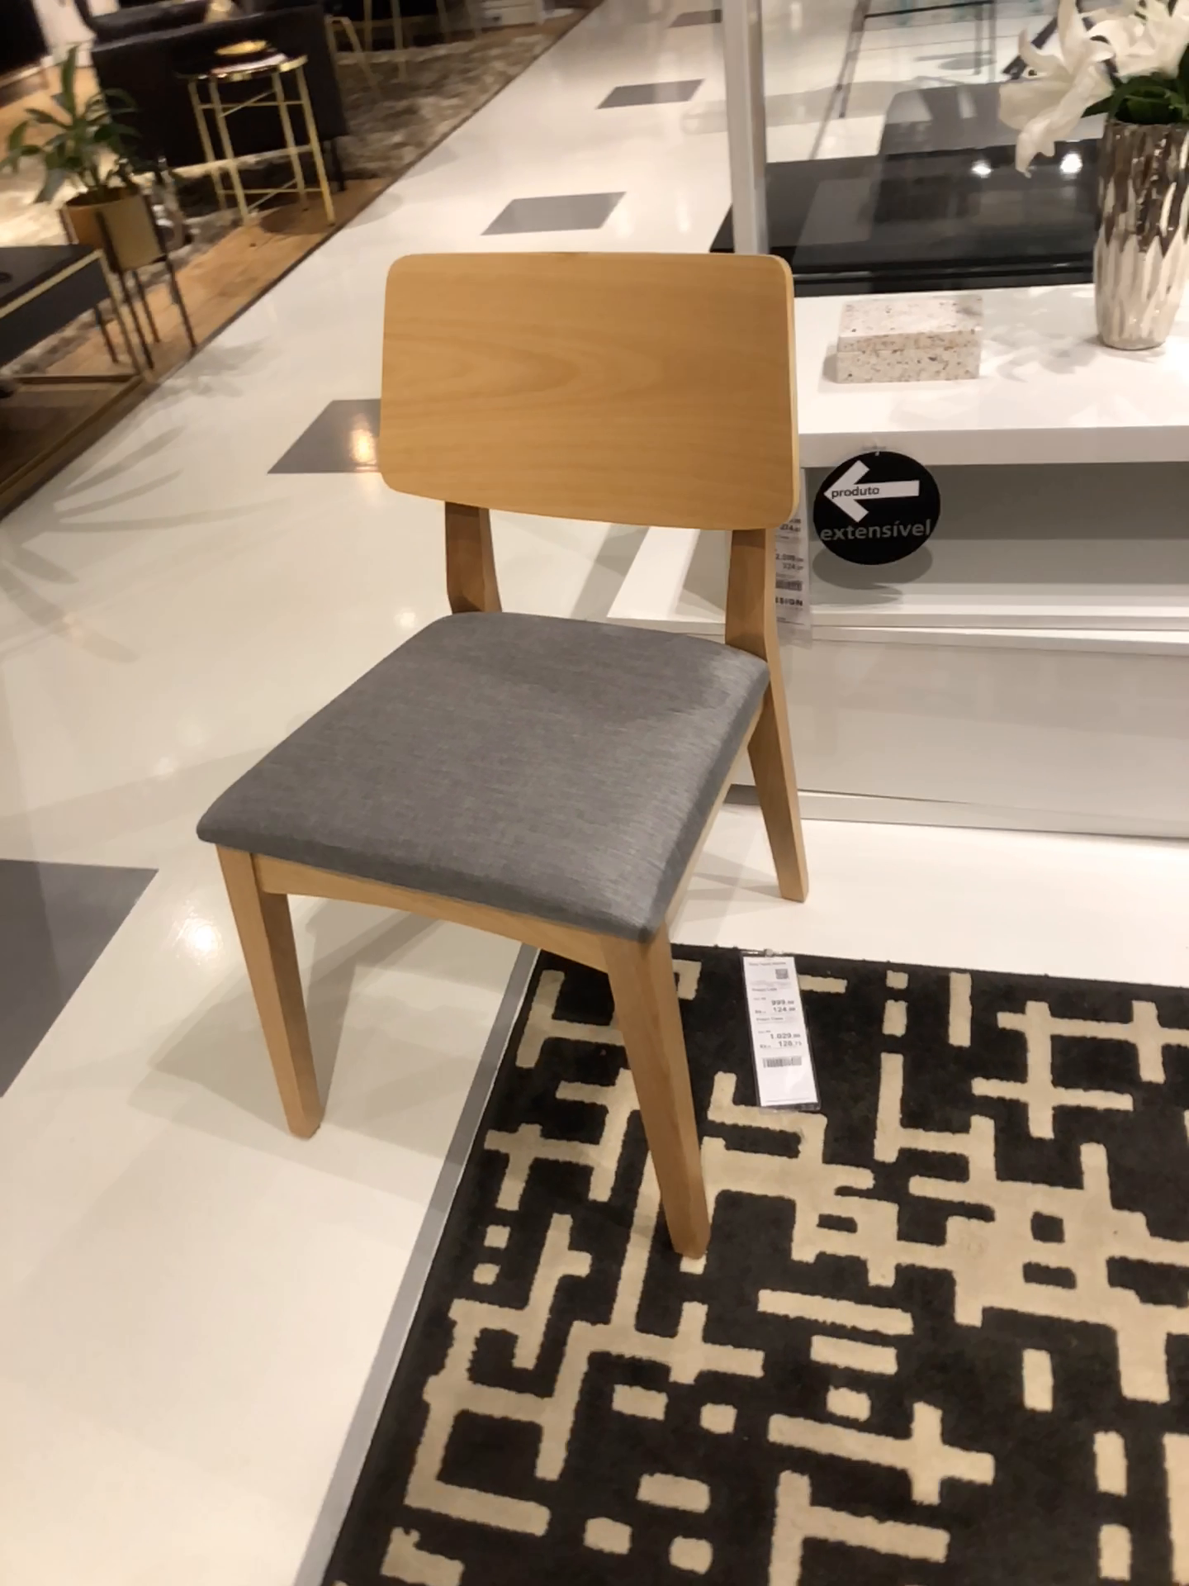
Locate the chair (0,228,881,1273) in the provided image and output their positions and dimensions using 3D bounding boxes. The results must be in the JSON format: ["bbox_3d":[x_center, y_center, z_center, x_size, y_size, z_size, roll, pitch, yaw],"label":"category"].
[{"bbox_3d":[-0.054,-0.066,1.322,0.541,0.794,0.584,10,42,22],"label":"chair"}]
